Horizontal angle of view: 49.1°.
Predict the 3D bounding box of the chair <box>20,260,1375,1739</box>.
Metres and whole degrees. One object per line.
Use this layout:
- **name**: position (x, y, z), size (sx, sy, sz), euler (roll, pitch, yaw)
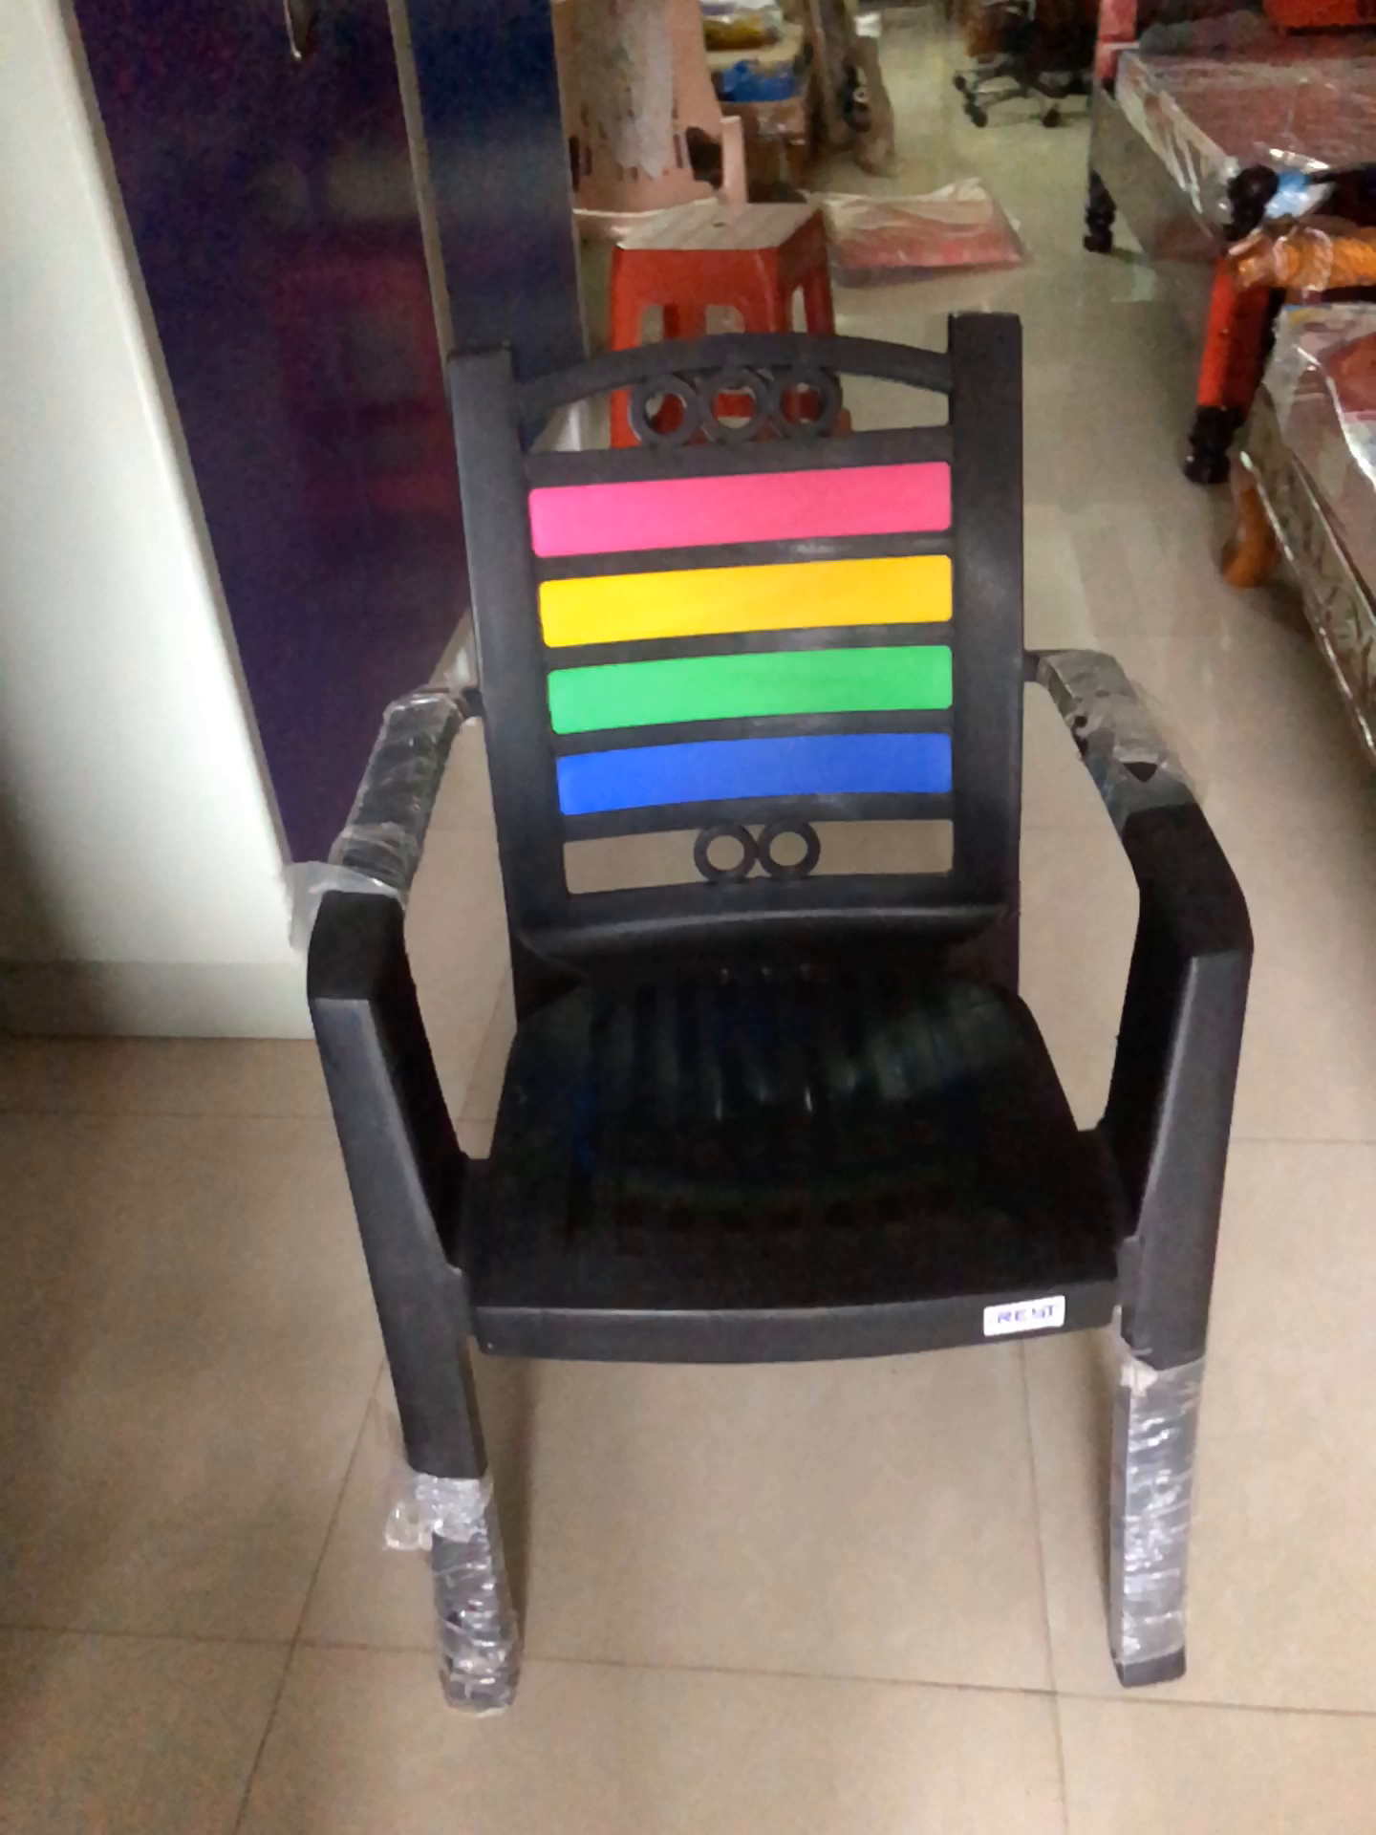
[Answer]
- **chair**: position (0.058, 0.091, 1.194), size (0.640, 0.975, 0.613), euler (-2, 36, 3)
